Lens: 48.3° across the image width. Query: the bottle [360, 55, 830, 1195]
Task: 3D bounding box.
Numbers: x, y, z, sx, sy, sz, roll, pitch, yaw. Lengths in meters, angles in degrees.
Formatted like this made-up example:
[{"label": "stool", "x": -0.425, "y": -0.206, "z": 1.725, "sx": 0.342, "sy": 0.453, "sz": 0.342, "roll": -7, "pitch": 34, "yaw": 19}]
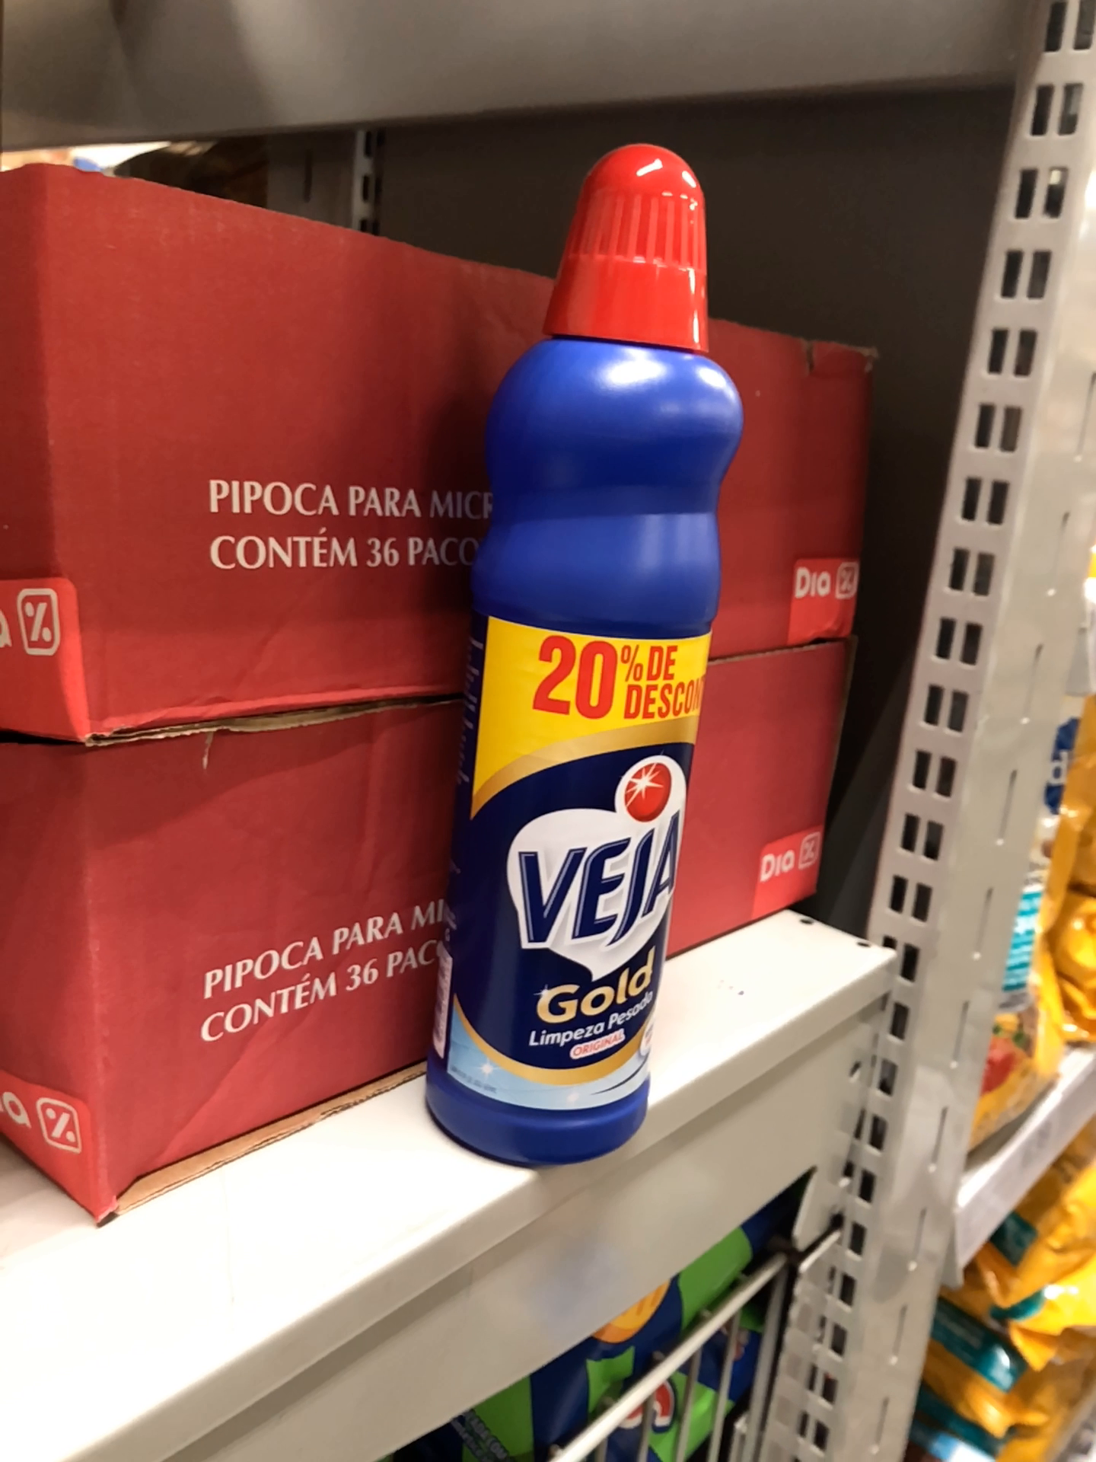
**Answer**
[{"label": "bottle", "x": 0.003, "y": -0.020, "z": 0.308, "sx": 0.070, "sy": 0.249, "sz": 0.070, "roll": 4, "pitch": 16, "yaw": -1}]
